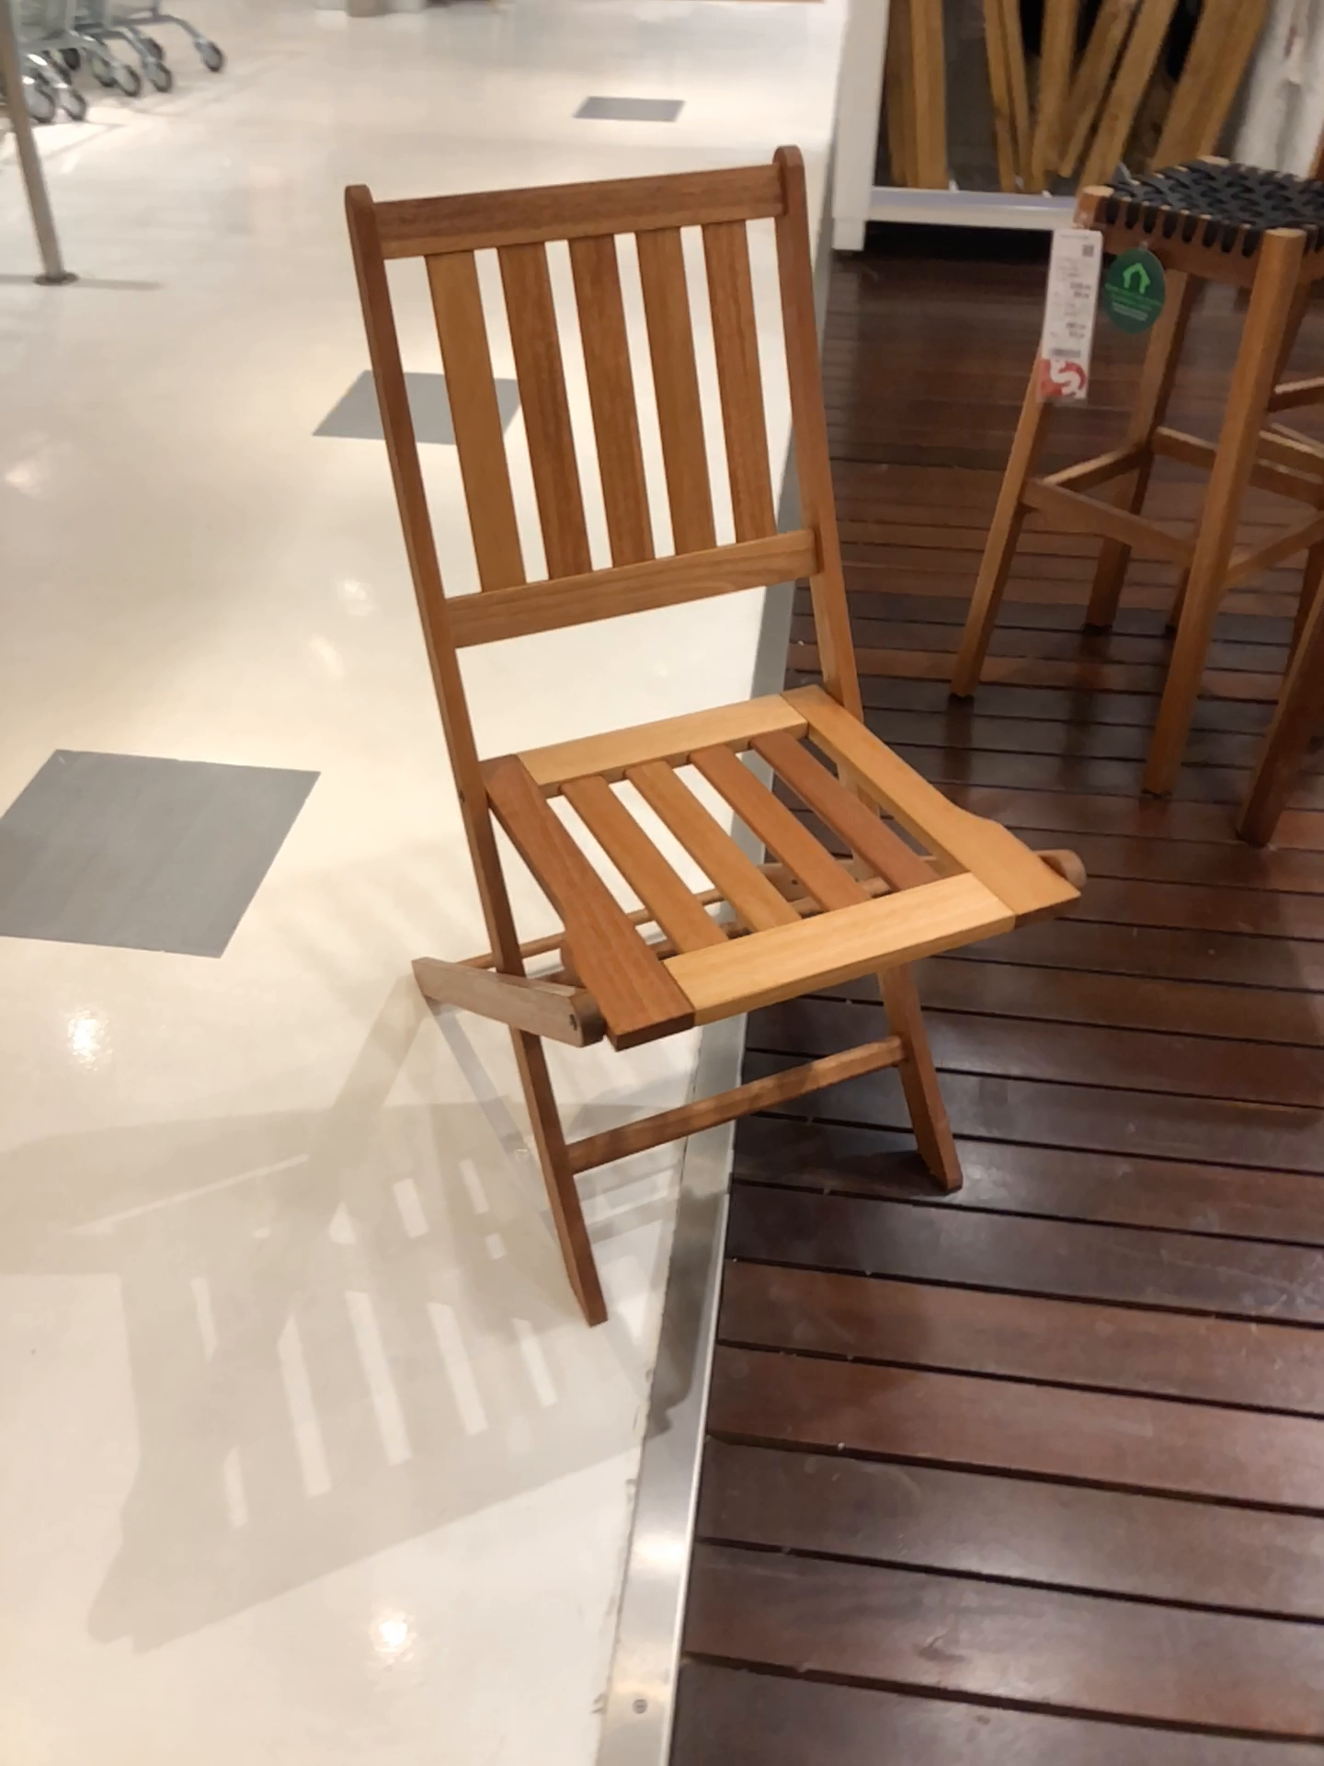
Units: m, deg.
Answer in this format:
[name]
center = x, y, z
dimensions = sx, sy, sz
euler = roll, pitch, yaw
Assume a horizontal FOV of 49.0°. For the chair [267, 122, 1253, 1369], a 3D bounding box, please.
[chair]
center = 0.026, -0.140, 1.337
dimensions = 0.501, 0.863, 0.604
euler = -16, 41, -20
